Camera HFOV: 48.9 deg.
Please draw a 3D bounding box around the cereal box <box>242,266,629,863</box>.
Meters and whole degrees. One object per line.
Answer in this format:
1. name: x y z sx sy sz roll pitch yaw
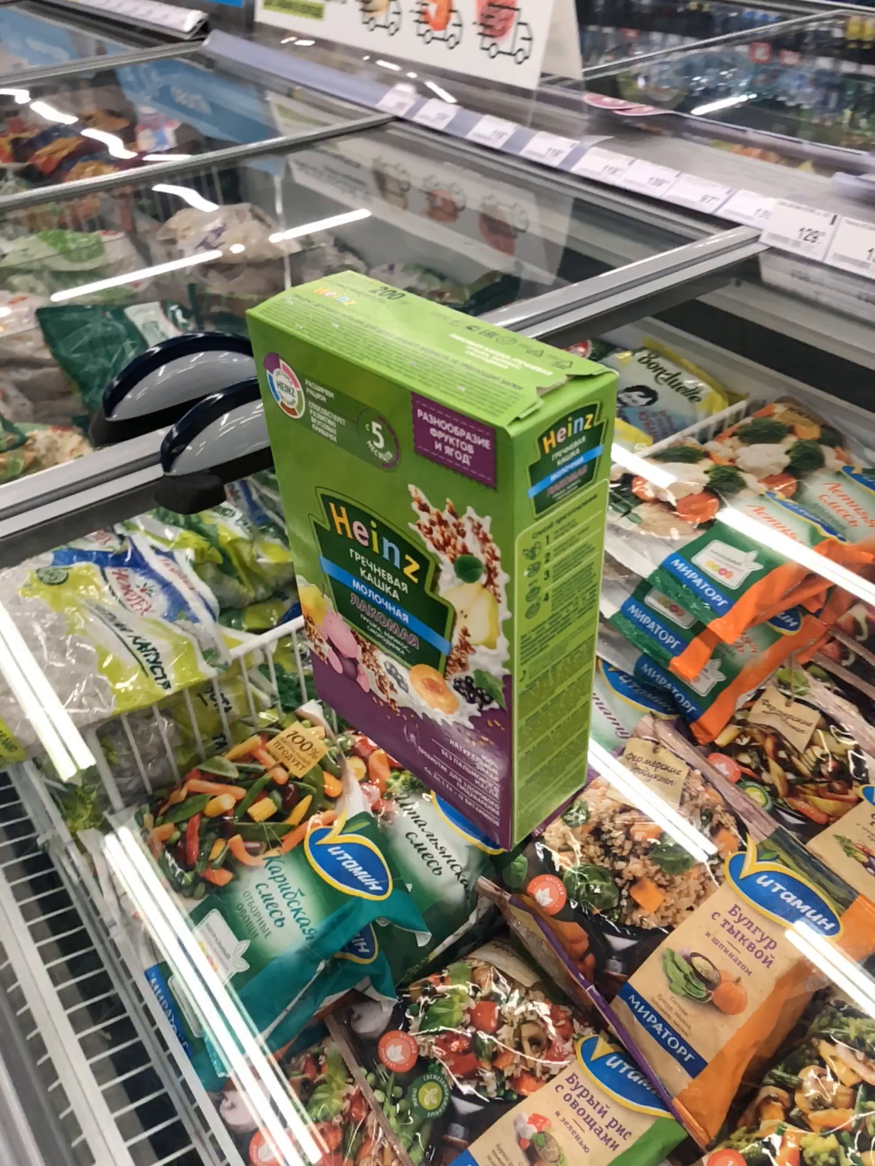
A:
1. cereal box: -0.001 -0.004 0.378 0.050 0.199 0.130 -33 47 -32
